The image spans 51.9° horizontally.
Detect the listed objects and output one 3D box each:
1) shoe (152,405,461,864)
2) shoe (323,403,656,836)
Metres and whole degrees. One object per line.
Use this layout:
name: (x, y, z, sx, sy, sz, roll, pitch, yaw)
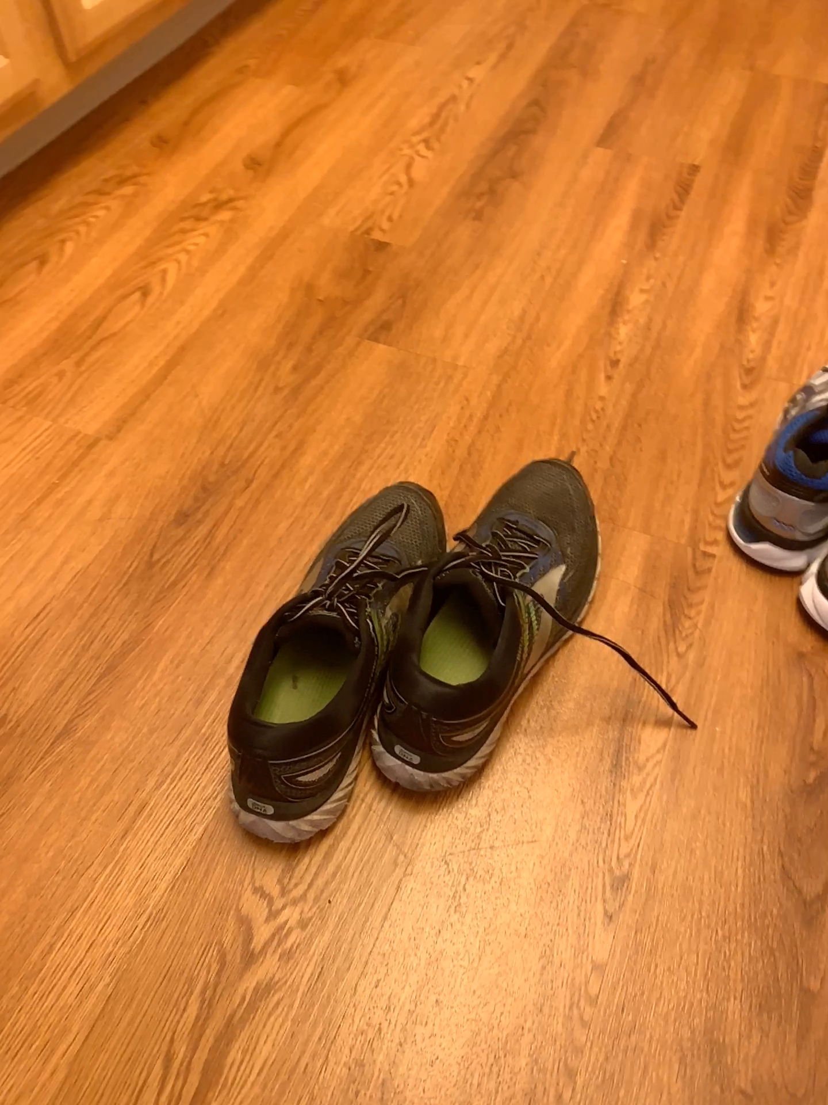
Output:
shoe: (-0.059, 0.048, 0.636, 0.100, 0.120, 0.311, 15, 55, 12)
shoe: (0.067, 0.040, 0.656, 0.100, 0.120, 0.311, 26, 58, 19)
